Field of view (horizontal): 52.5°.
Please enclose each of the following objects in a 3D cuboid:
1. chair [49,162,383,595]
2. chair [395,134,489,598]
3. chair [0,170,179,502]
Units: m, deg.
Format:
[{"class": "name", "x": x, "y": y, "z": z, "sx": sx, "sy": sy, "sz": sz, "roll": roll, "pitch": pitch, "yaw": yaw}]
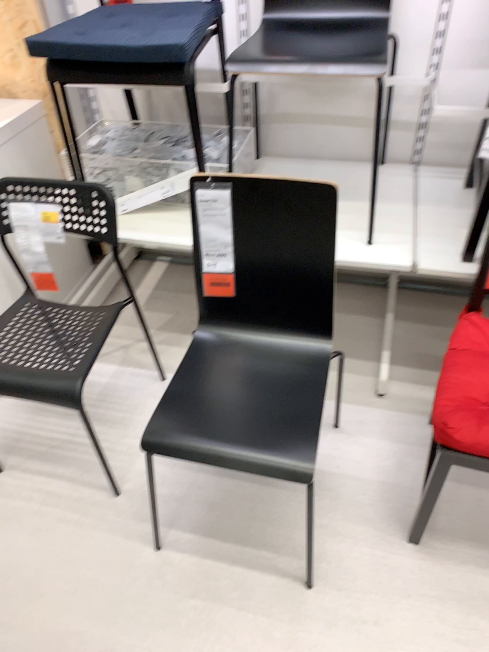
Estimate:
[{"class": "chair", "x": 0.017, "y": 0.137, "z": 1.218, "sx": 0.480, "sy": 0.827, "sz": 0.592, "roll": 8, "pitch": 44, "yaw": 13}, {"class": "chair", "x": 0.642, "y": 0.120, "z": 1.074, "sx": 0.450, "sy": 0.856, "sz": 0.482, "roll": 9, "pitch": 44, "yaw": 13}, {"class": "chair", "x": -0.547, "y": 0.032, "z": 1.421, "sx": 0.470, "sy": 0.727, "sz": 0.532, "roll": 8, "pitch": 44, "yaw": 12}]
